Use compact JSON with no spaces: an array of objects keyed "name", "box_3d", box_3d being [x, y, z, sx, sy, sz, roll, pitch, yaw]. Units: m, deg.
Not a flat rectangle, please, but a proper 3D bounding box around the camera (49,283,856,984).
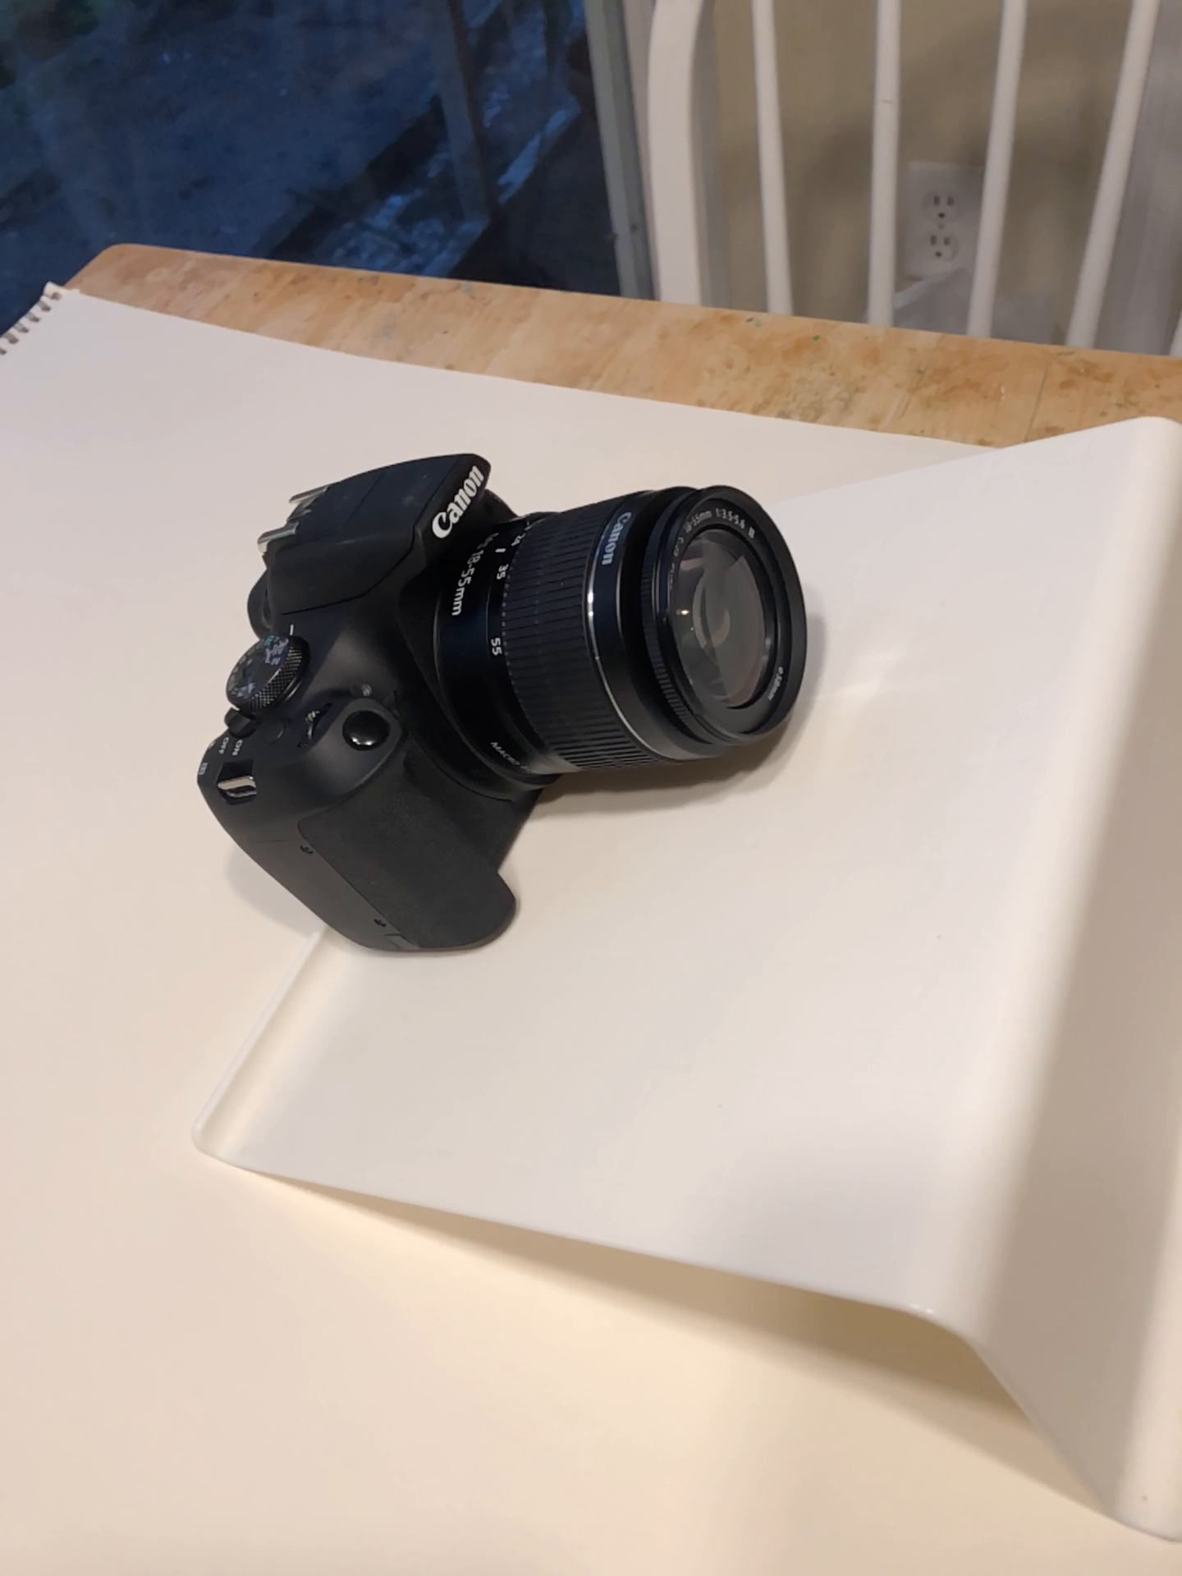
[{"name":"camera","box_3d":[-0.032,-0.032,0.345,0.140,0.104,0.126,-7,43,41]}]
